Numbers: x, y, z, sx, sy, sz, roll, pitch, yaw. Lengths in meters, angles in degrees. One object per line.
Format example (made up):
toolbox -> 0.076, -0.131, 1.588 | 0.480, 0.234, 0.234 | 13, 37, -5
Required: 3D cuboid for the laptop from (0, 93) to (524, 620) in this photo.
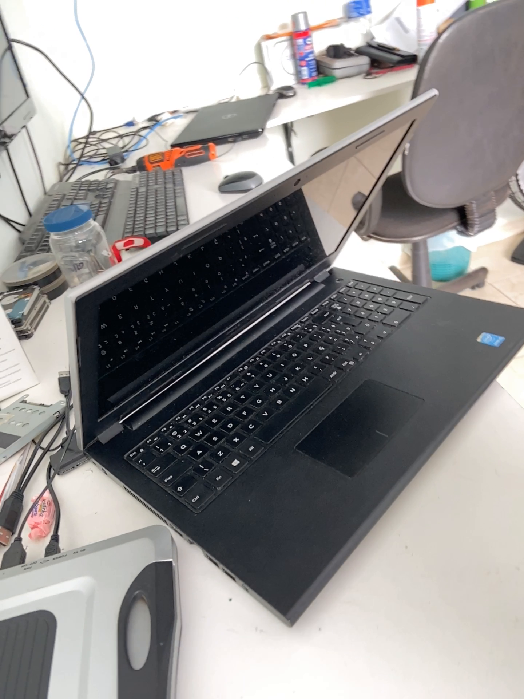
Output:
laptop -> 0.031, -0.052, 0.453 | 0.257, 0.204, 0.375 | 21, 47, 41
